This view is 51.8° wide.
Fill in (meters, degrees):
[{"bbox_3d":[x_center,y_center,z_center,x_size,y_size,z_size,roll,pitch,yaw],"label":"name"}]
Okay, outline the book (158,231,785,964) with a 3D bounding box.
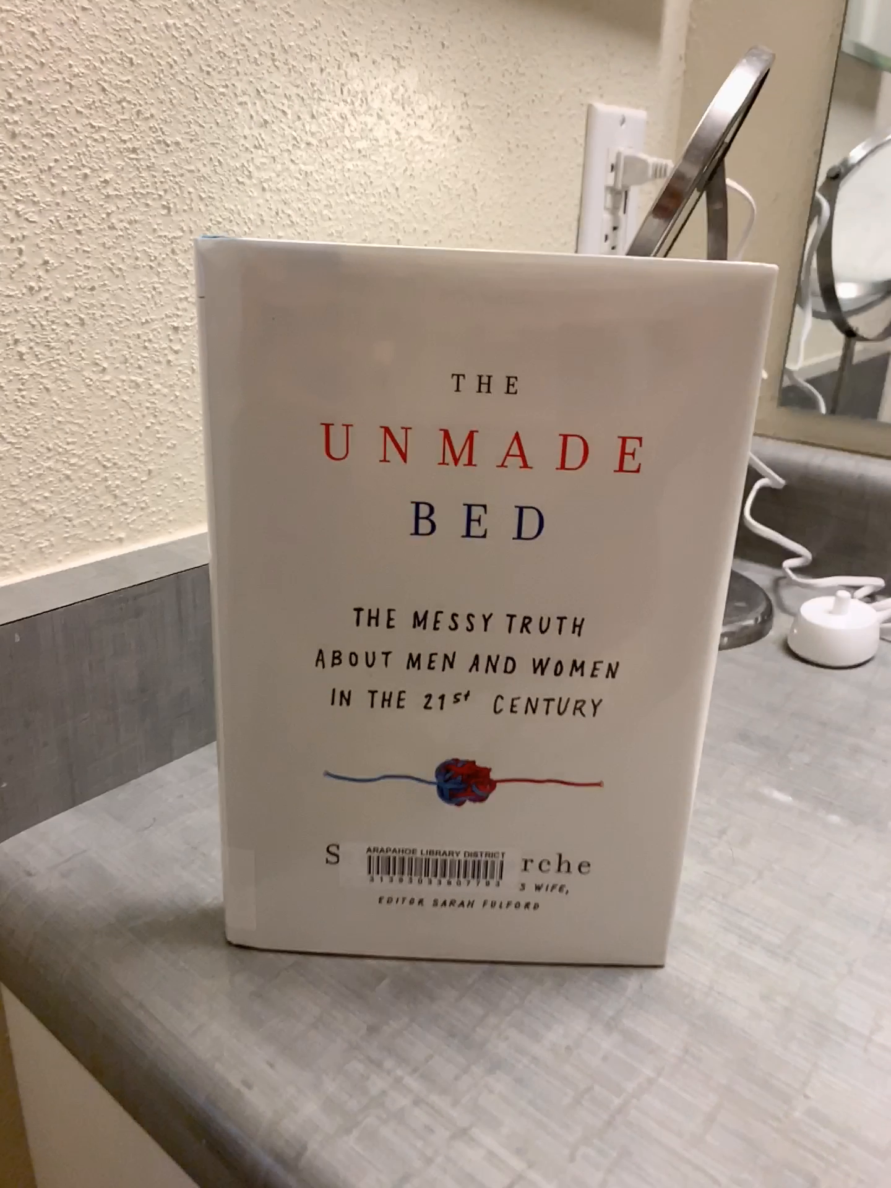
[{"bbox_3d":[0.002,0.010,0.274,0.152,0.214,0.033,2,20,0],"label":"book"}]
